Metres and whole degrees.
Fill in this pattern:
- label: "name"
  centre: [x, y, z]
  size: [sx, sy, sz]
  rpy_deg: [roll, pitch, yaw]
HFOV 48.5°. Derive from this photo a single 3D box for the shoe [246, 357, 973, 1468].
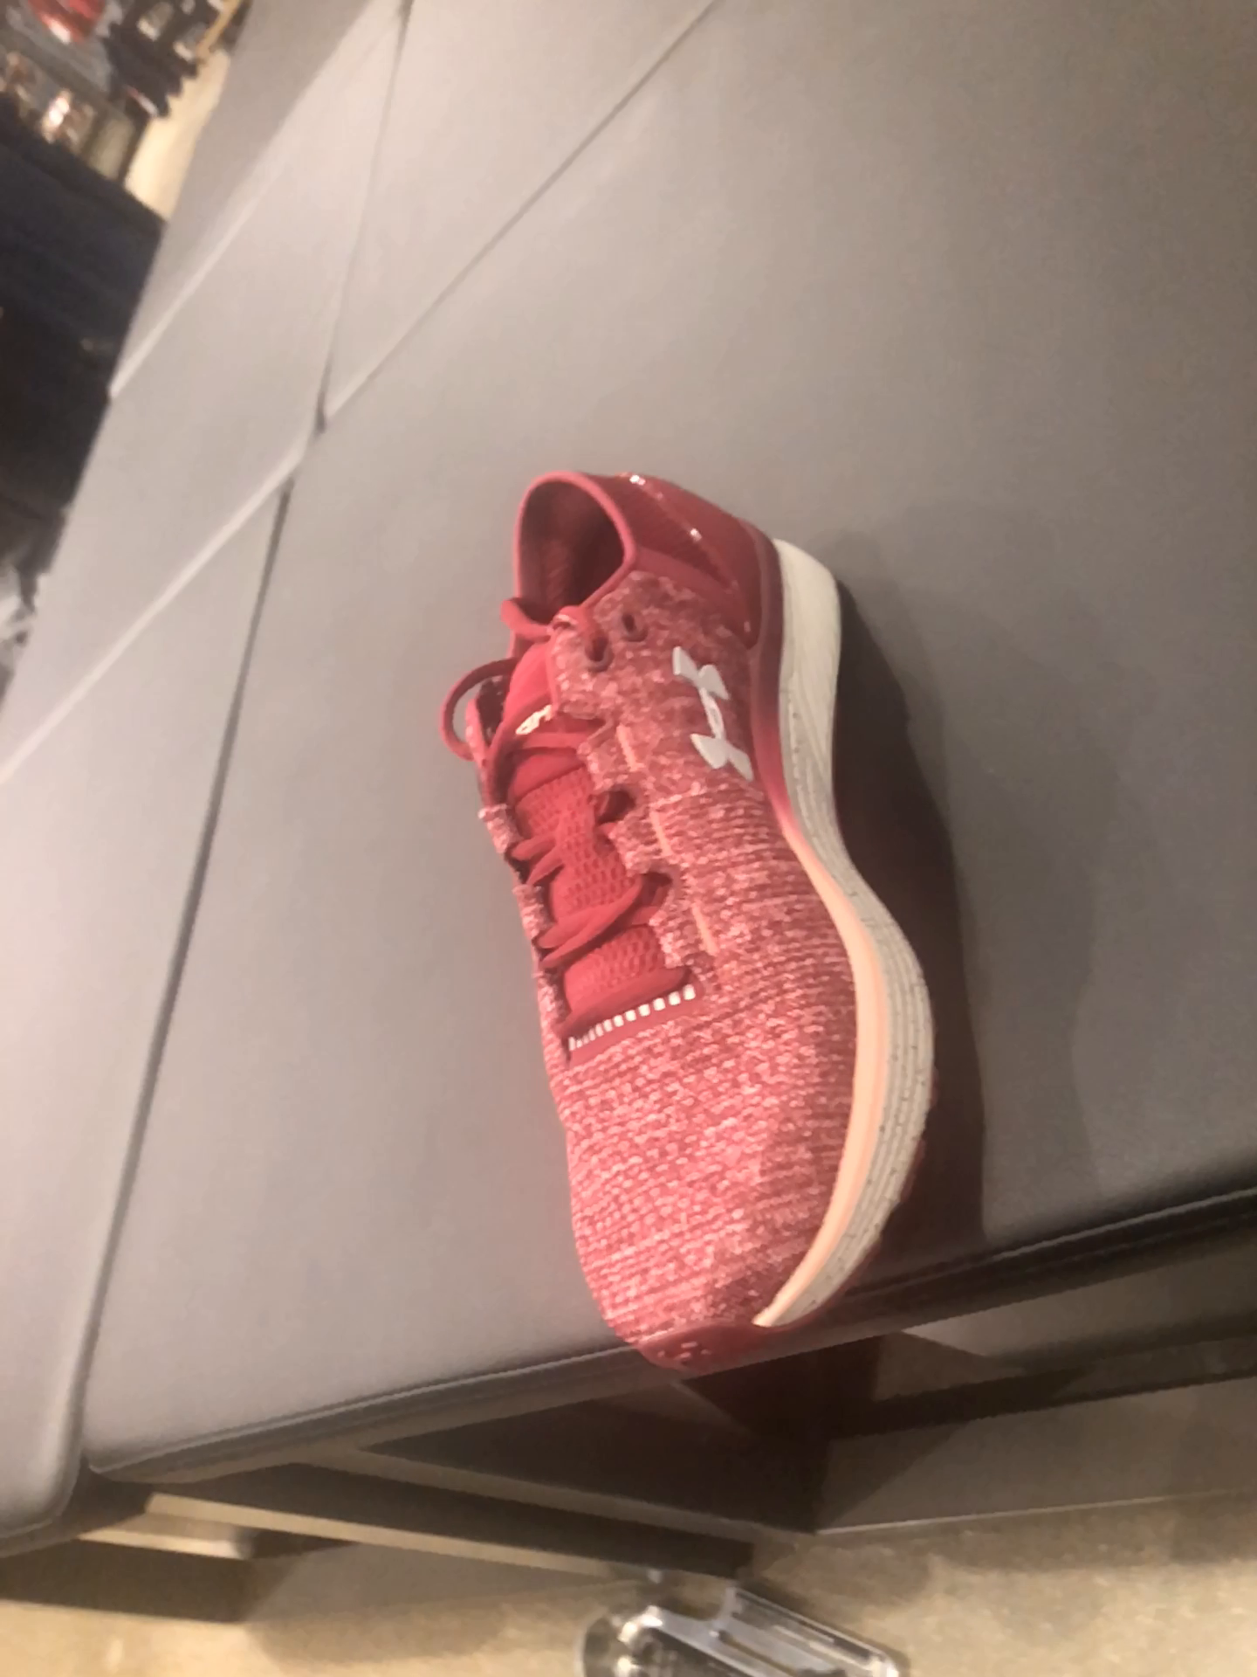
- label: "shoe"
  centre: [-0.011, 0.013, 0.373]
  size: [0.122, 0.097, 0.254]
  rpy_deg: [-36, 41, 35]
